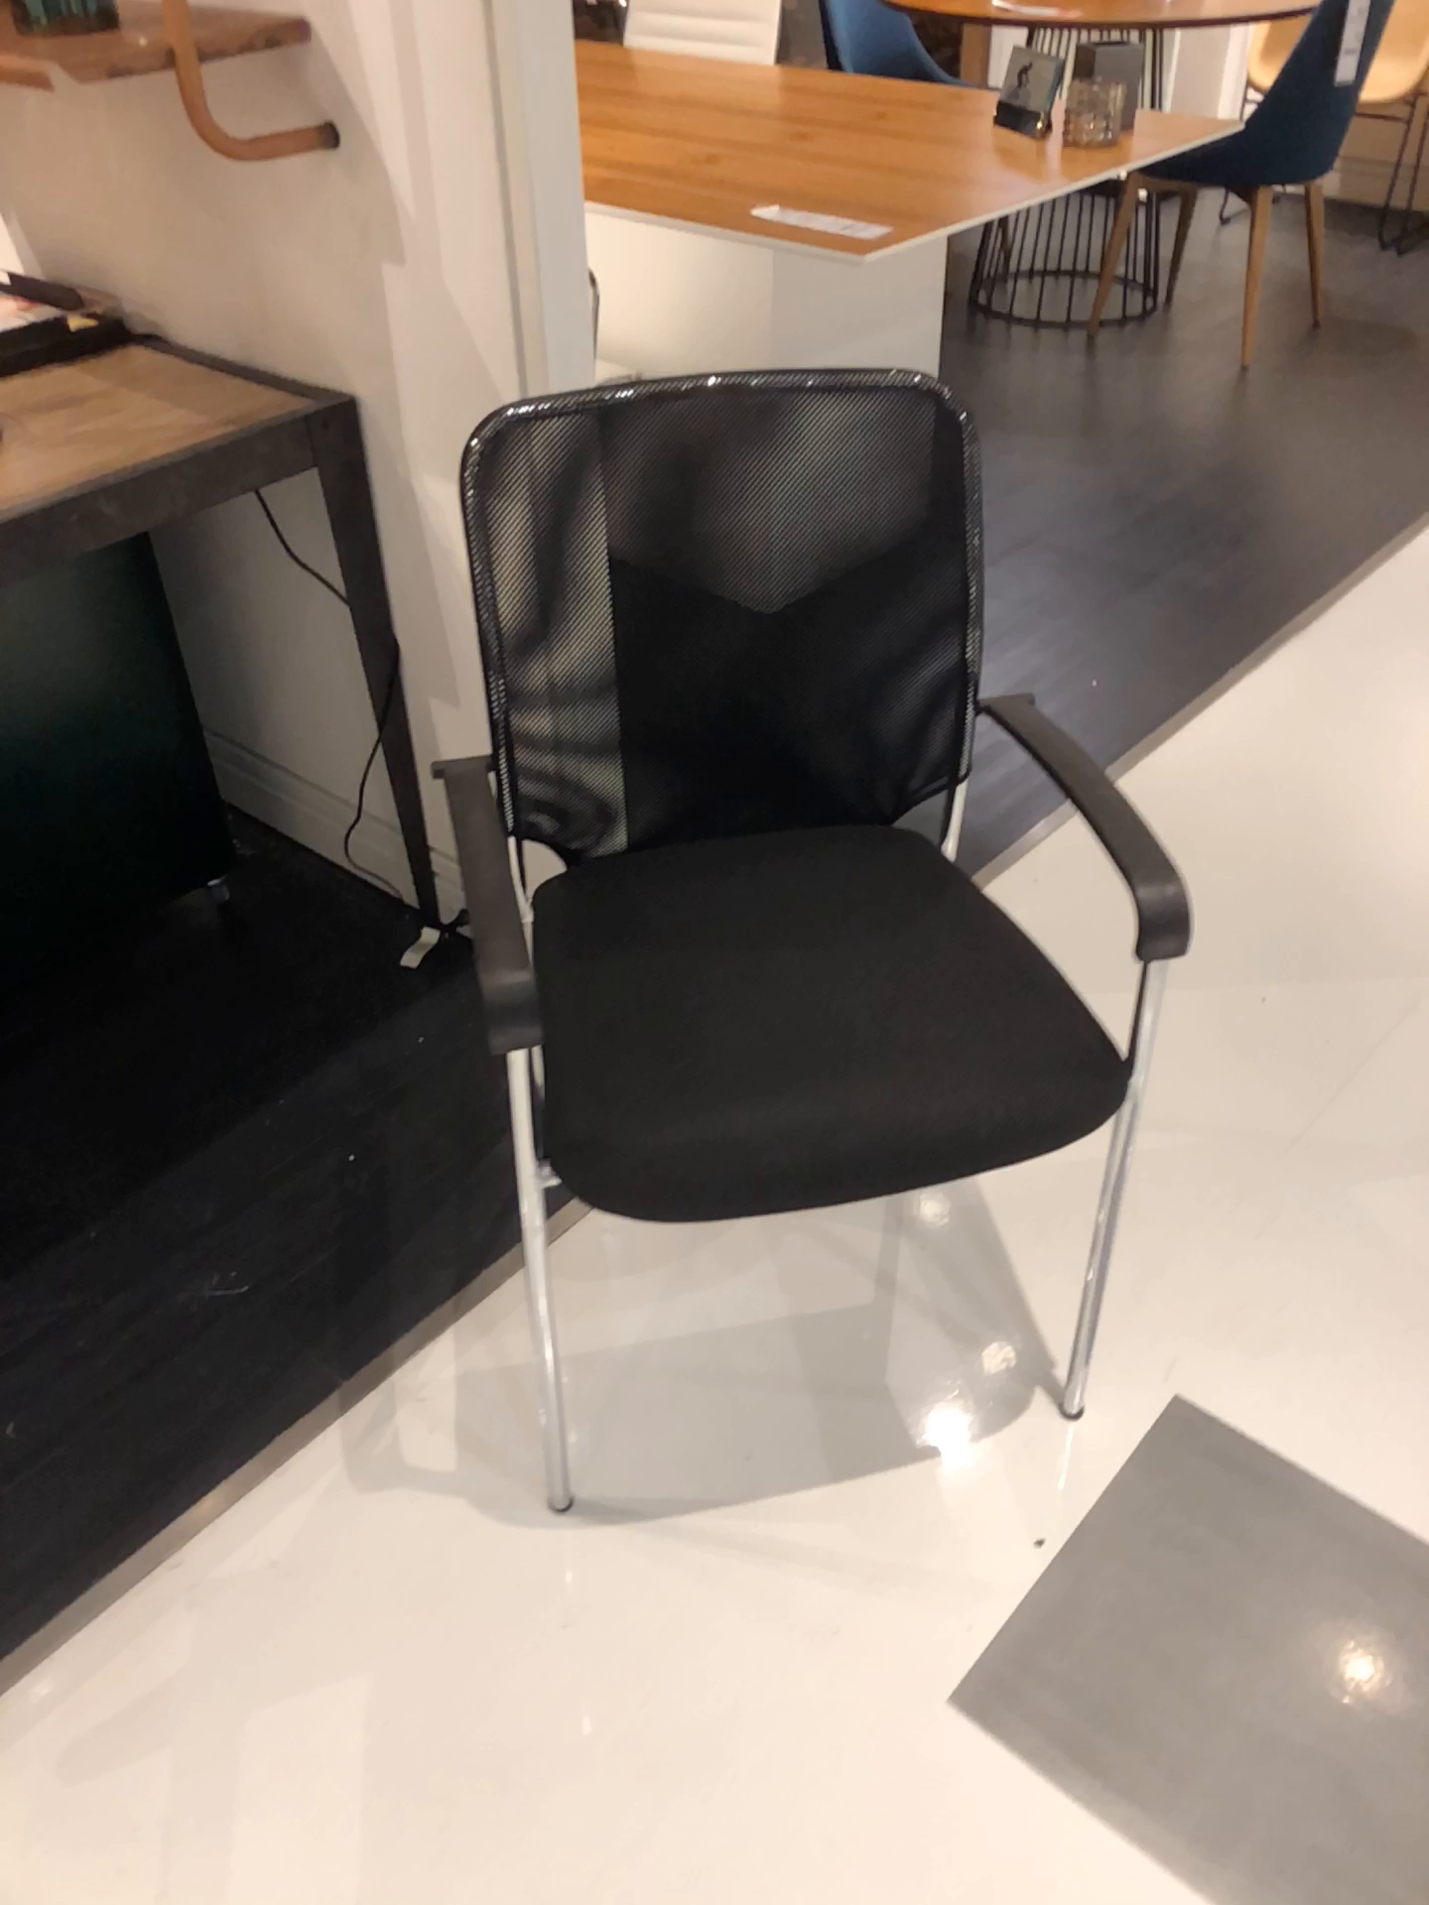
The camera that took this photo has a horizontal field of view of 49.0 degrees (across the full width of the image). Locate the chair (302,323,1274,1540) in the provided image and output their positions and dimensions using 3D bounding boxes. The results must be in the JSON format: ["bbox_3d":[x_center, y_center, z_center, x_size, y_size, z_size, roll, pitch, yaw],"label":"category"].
[{"bbox_3d":[0.015,-0.012,1.385,0.590,0.863,0.514,-8,38,-9],"label":"chair"}]
